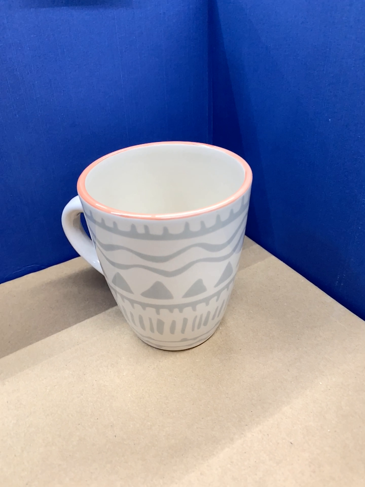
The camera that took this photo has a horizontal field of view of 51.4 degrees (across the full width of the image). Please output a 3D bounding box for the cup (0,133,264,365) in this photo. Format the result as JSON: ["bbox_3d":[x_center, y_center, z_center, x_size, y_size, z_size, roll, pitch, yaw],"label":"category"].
[{"bbox_3d":[-0.021,-0.006,0.224,0.119,0.082,0.097,8,34,15],"label":"cup"}]
